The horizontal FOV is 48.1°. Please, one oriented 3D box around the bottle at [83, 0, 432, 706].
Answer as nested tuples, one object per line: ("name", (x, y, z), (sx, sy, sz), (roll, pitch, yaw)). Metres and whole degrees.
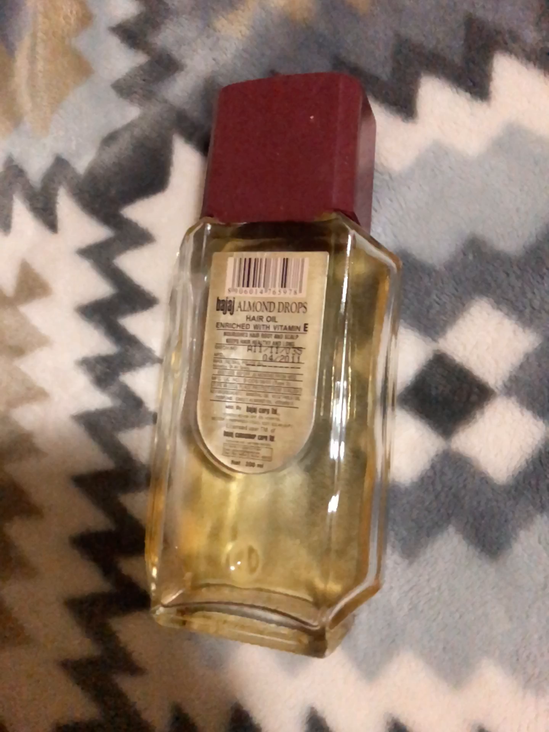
("bottle", (0.000, -0.013, 0.188), (0.080, 0.040, 0.190), (2, 81, 21))
